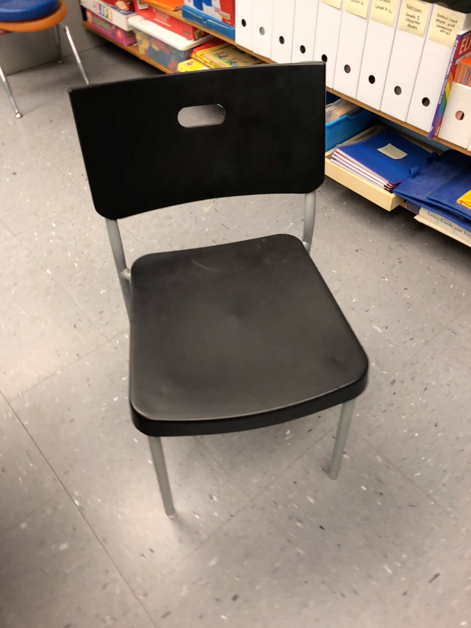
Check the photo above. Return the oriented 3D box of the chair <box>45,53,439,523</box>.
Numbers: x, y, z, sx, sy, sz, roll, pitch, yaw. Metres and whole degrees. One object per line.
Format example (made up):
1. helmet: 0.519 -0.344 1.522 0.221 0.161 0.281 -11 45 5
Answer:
1. chair: -0.020 -0.001 1.037 0.465 0.777 0.475 -10 49 -7
